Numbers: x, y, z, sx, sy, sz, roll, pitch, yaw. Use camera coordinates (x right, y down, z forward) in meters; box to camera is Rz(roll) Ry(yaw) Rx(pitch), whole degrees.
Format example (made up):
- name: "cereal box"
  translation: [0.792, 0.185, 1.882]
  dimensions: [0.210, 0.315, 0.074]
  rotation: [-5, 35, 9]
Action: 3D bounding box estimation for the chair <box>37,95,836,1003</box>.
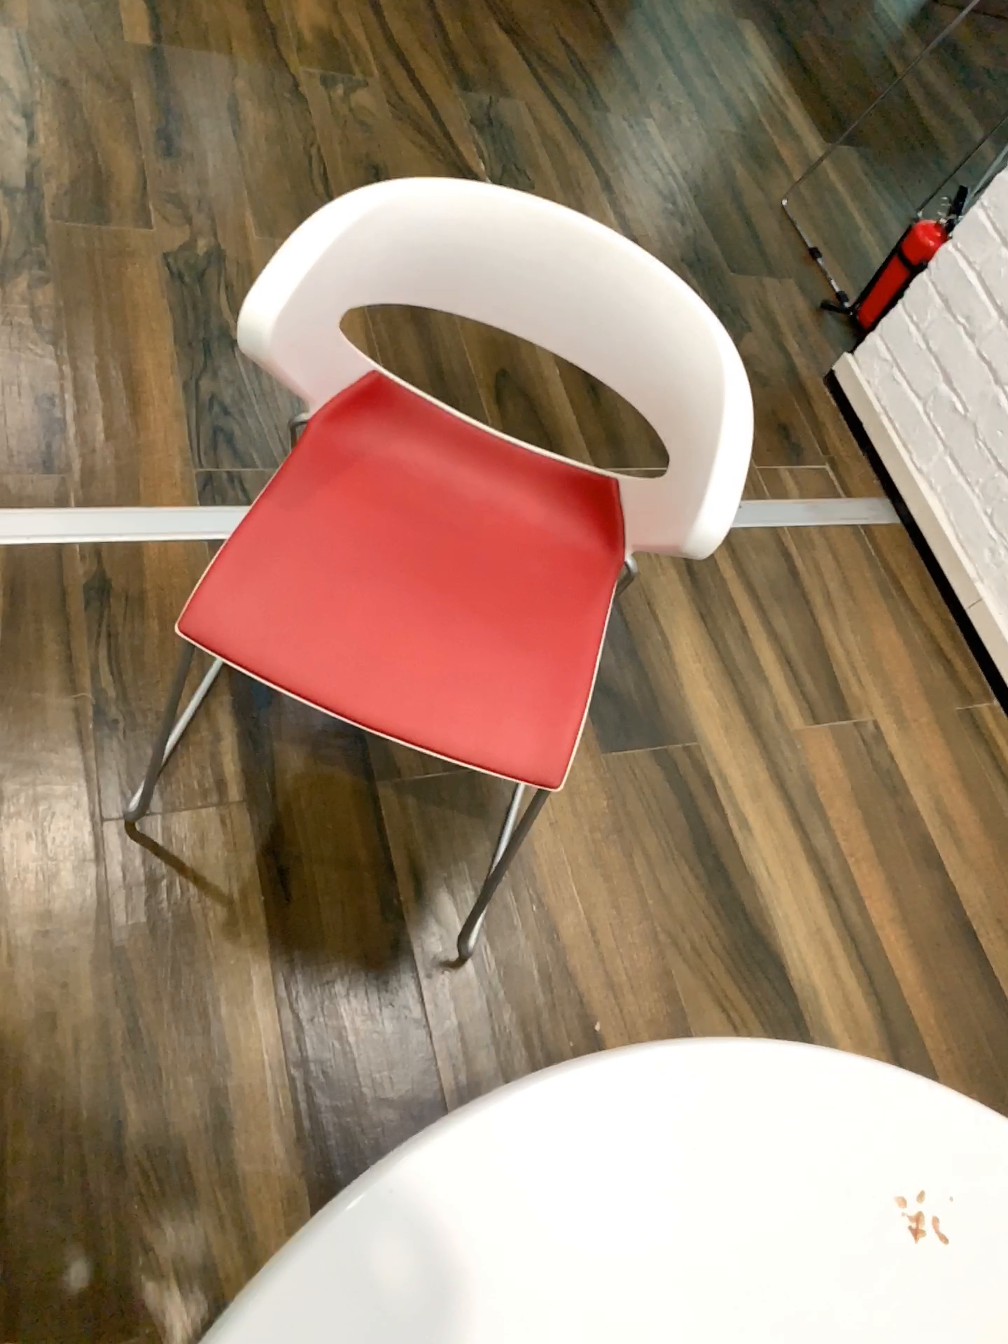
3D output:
- name: "chair"
  translation: [-0.084, -0.102, 1.232]
  dimensions: [0.590, 0.676, 0.644]
  rotation: [25, 54, -5]
